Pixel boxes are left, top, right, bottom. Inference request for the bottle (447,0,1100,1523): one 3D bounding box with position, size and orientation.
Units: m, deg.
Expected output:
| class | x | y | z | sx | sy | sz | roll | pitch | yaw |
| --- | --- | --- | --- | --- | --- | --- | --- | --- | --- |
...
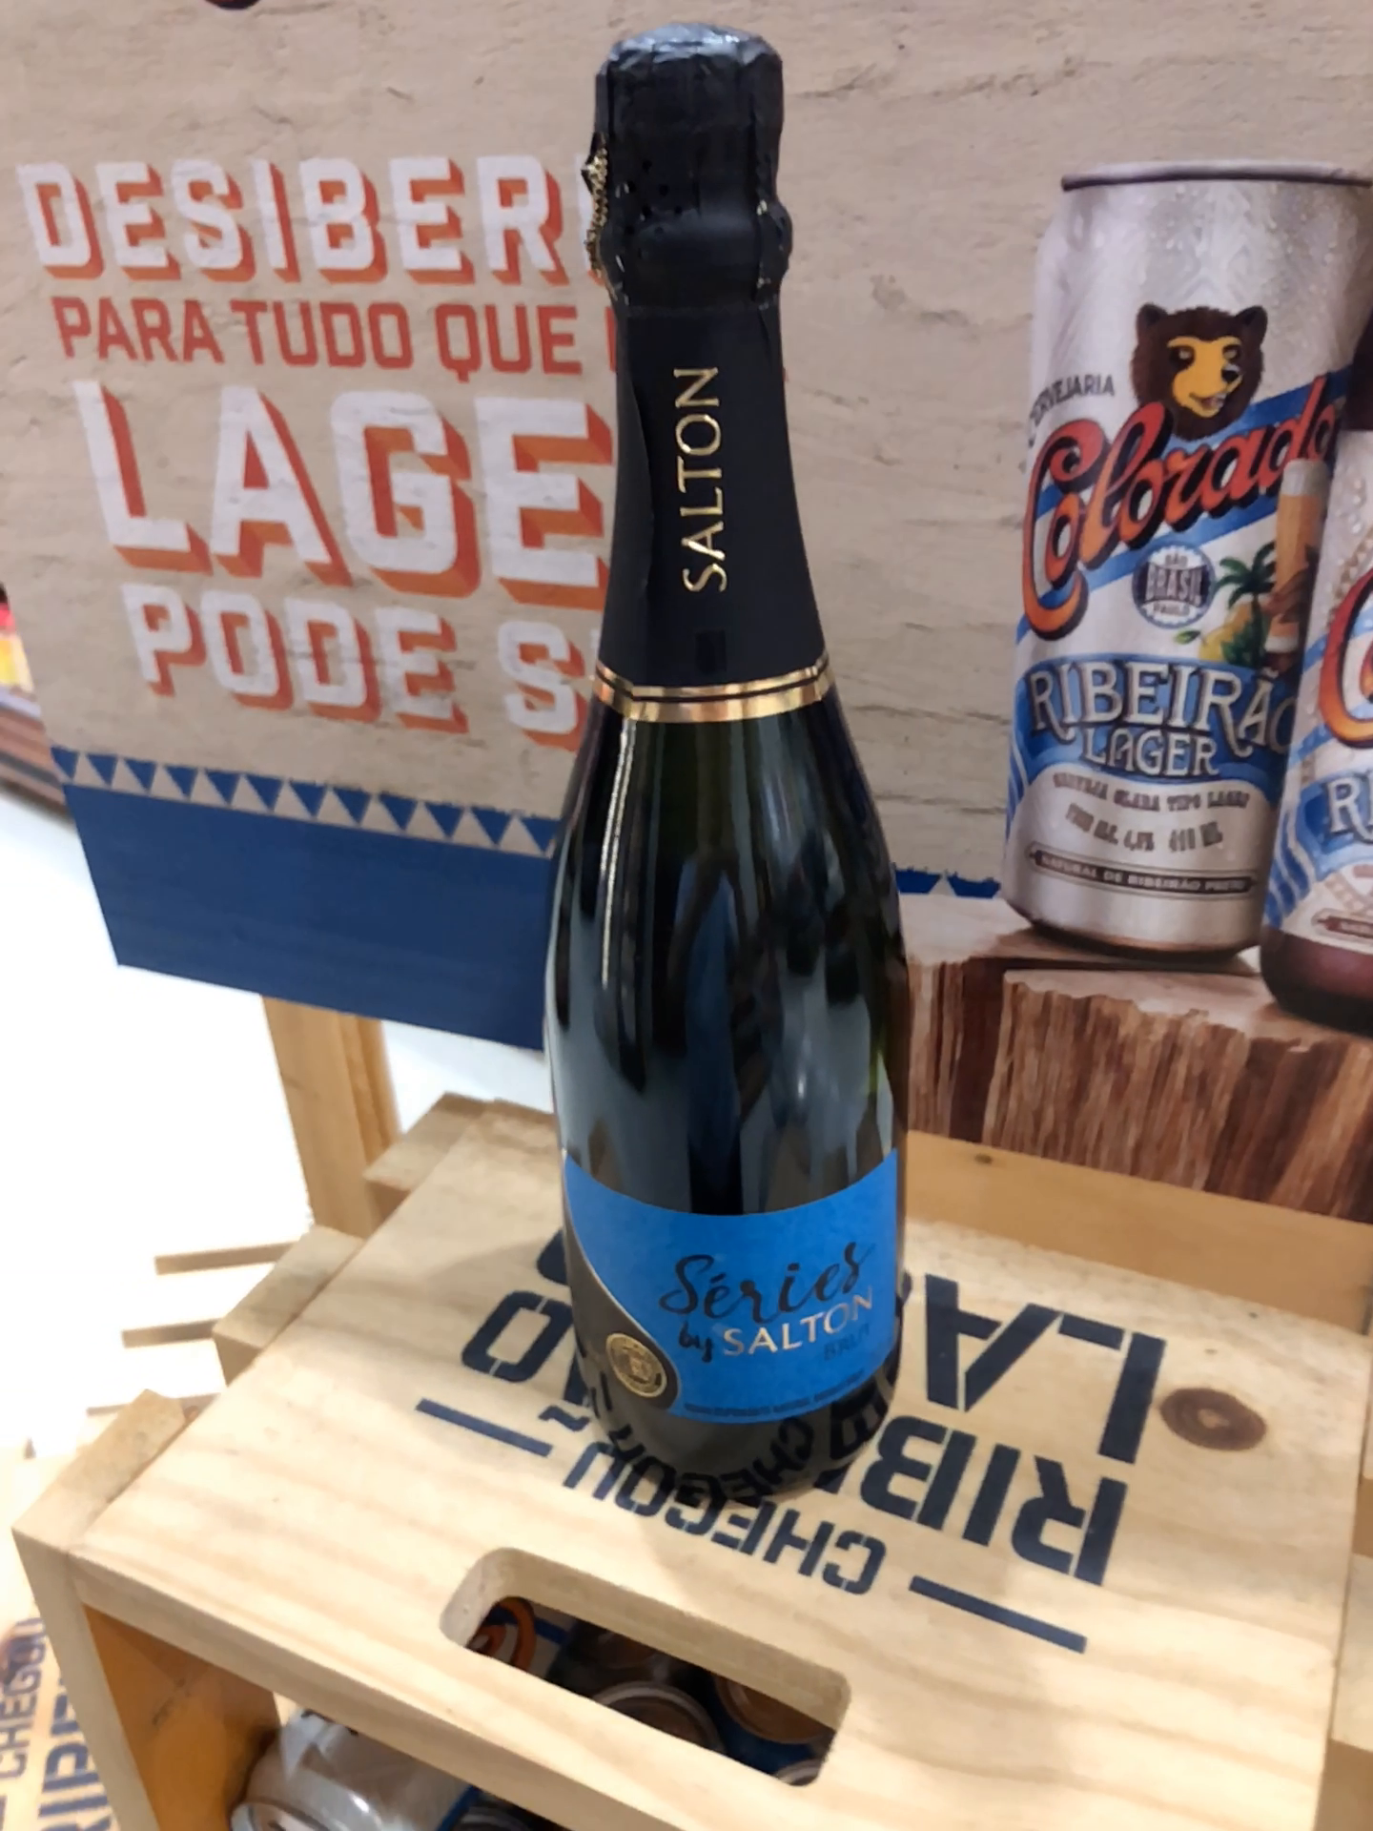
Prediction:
| class | x | y | z | sx | sy | sz | roll | pitch | yaw |
| --- | --- | --- | --- | --- | --- | --- | --- | --- | --- |
| bottle | 0.014 | -0.021 | 0.320 | 0.090 | 0.317 | 0.081 | -4 | 28 | -3 |
